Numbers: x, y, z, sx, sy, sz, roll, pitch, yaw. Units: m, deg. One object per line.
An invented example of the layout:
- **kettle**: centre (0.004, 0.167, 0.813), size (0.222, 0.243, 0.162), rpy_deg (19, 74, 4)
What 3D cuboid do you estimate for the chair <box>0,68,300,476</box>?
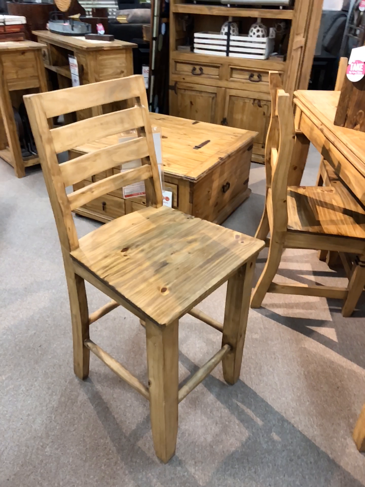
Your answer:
- **chair**: centre (-0.079, 0.079, 1.207), size (0.522, 1.013, 0.472), rpy_deg (26, 41, 32)
